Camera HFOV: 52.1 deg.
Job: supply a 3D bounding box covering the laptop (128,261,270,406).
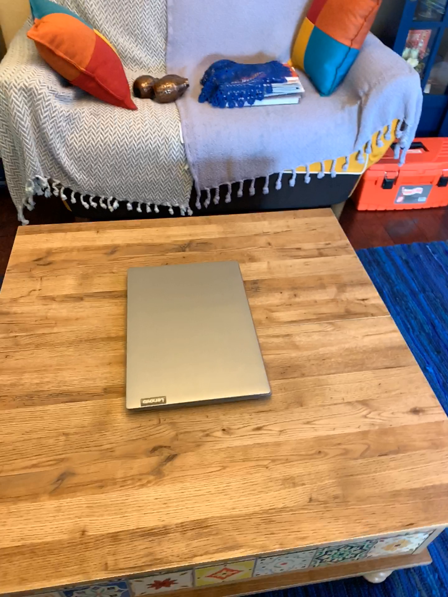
[{"bbox_3d":[-0.064,0.045,0.888,0.237,0.011,0.349,-3,44,-9],"label":"laptop"}]
